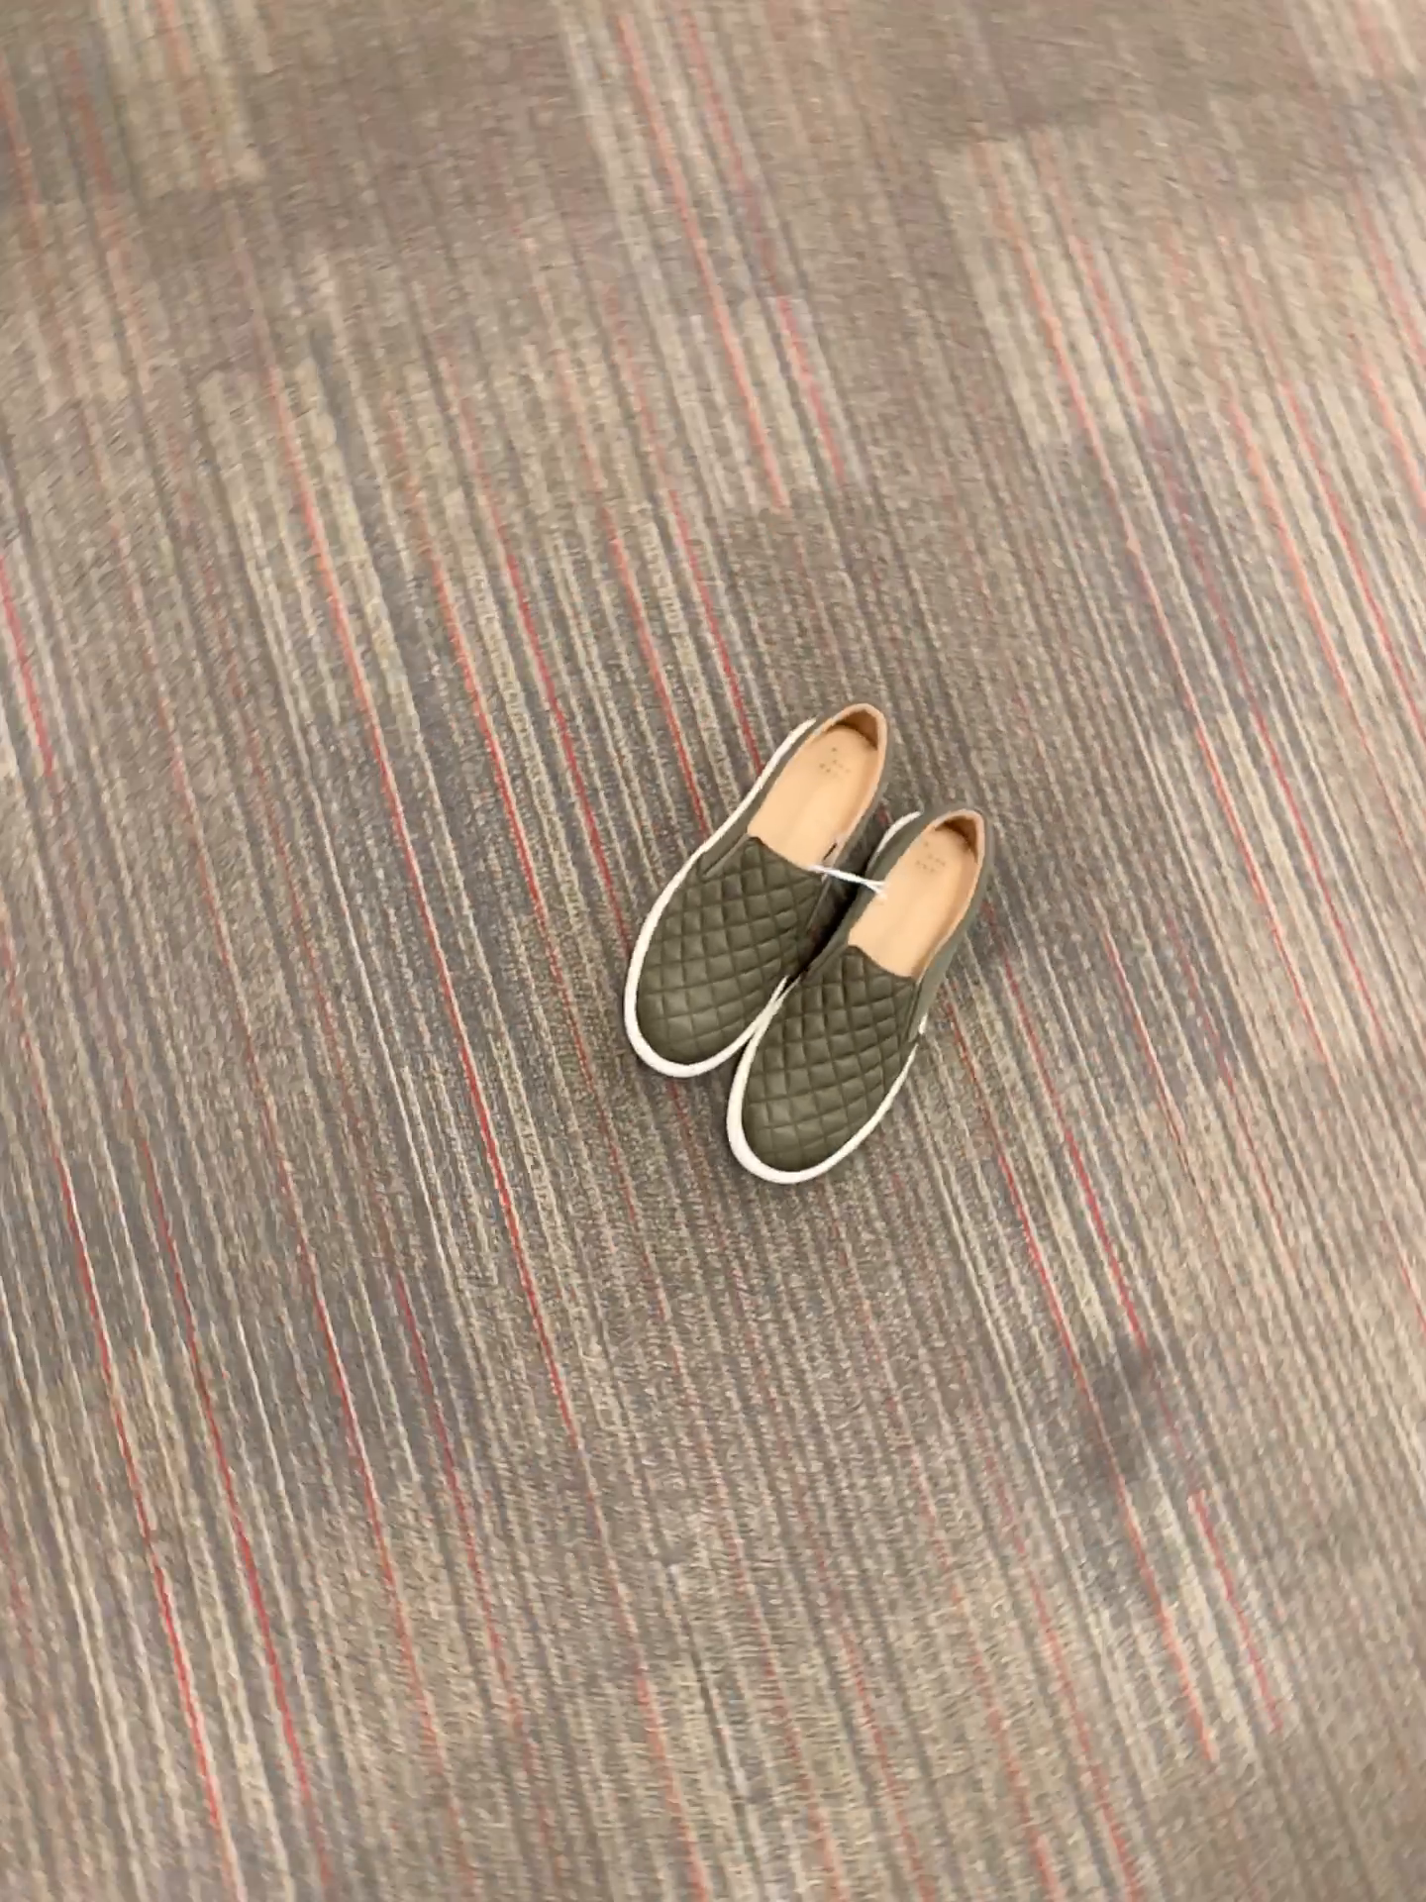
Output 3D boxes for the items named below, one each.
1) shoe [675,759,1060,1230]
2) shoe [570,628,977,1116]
[{"bbox_3d":[0.100,0.032,0.968,0.100,0.110,0.290,33,76,-1],"label":"shoe"},{"bbox_3d":[0.035,-0.047,0.947,0.100,0.130,0.290,35,76,-1],"label":"shoe"}]
